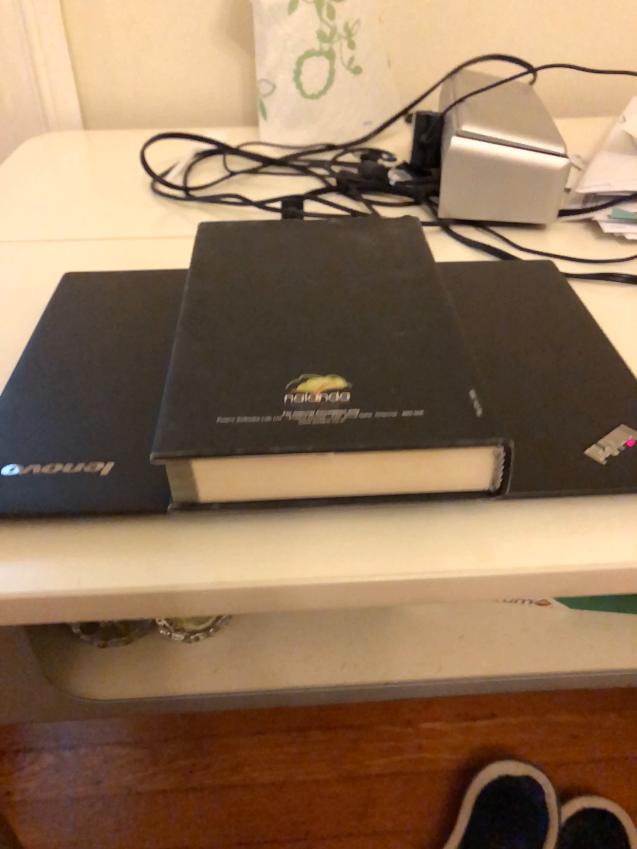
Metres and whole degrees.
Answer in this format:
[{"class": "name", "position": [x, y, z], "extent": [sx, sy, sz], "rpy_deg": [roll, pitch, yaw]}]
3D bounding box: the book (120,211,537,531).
[{"class": "book", "position": [-0.002, -0.046, 0.359], "extent": [0.150, 0.040, 0.232], "rpy_deg": [-2, 36, -2]}]
